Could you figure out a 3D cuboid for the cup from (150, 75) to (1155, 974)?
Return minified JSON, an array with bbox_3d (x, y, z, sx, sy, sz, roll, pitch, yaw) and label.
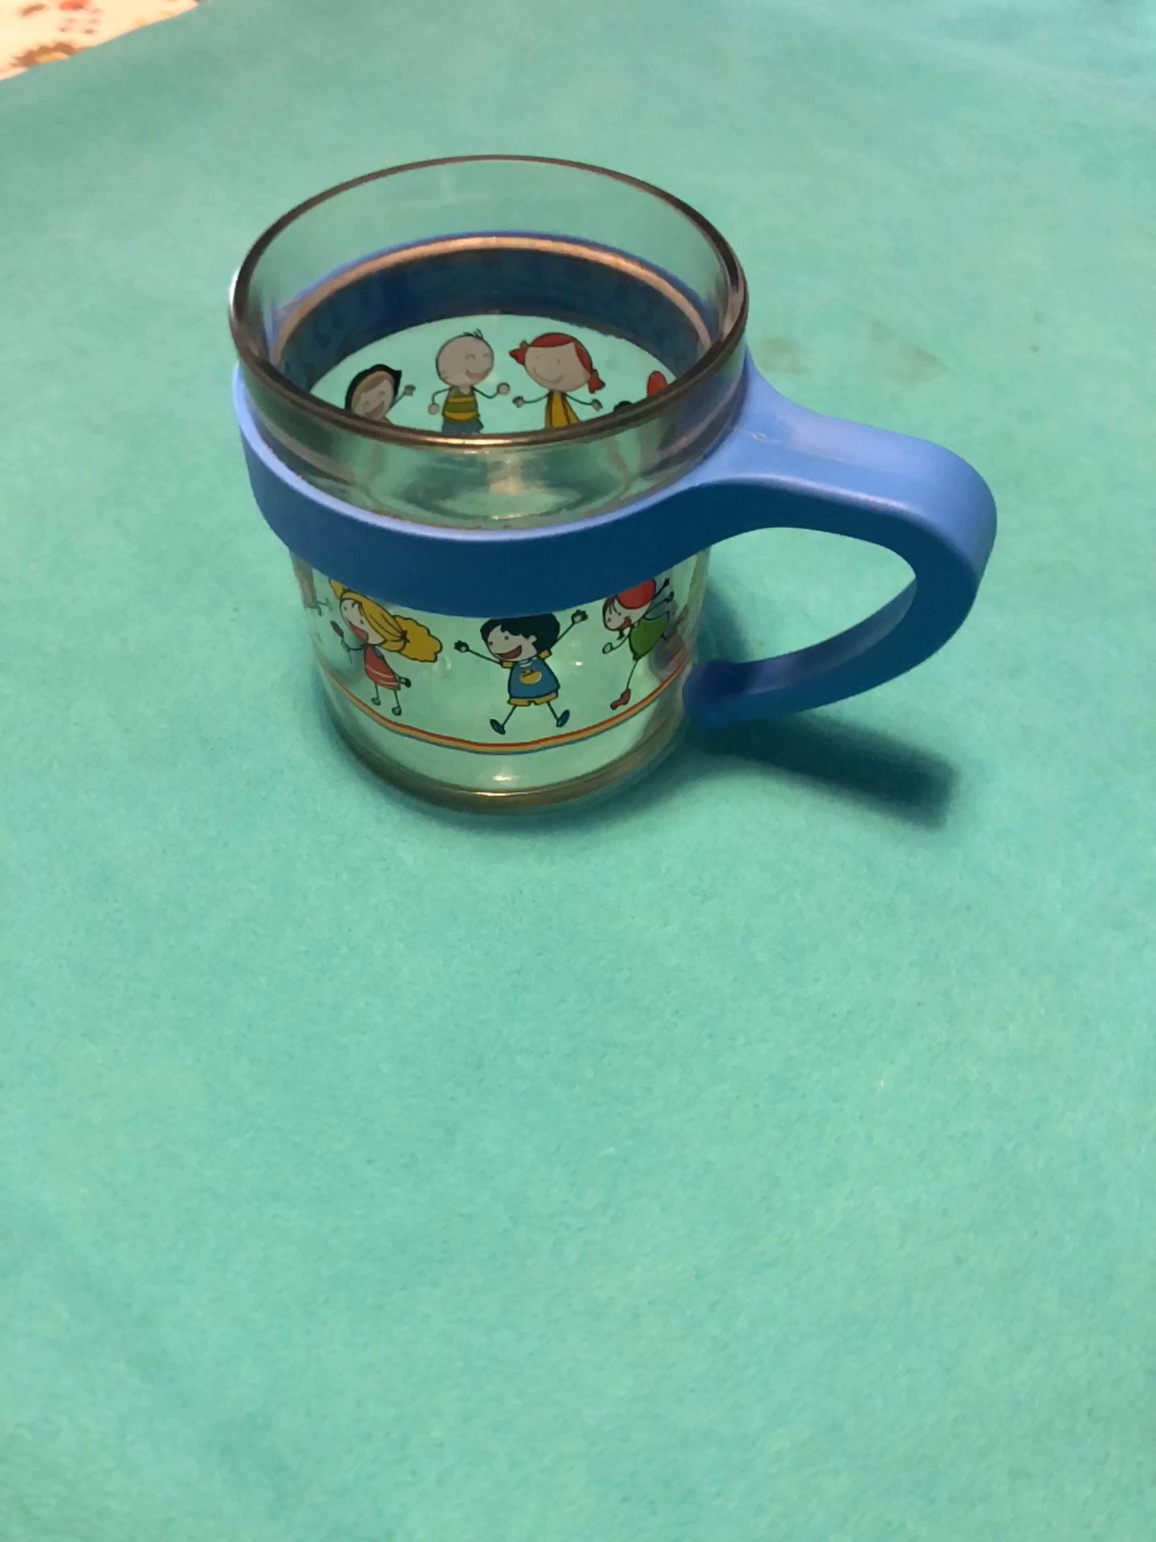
[{"bbox_3d":[0.016,-0.046,0.230,0.130,0.089,0.091,19,54,14],"label":"cup"}]
